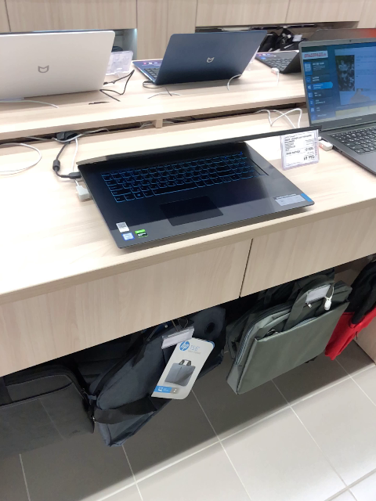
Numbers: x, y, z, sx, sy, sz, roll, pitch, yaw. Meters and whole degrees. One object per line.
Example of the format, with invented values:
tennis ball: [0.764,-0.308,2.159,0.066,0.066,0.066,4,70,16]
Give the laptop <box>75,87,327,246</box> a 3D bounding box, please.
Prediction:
laptop: [0.015,-0.186,0.798,0.390,0.129,0.272,-14,44,-22]
